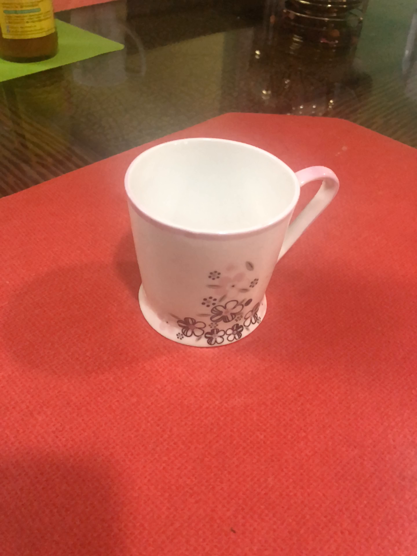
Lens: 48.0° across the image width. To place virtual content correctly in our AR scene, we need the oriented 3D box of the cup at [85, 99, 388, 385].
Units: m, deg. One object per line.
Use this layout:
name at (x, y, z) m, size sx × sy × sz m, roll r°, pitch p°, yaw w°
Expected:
cup at (0.009, -0.021, 0.215) m, size 0.100 × 0.080 × 0.070 m, roll -21°, pitch 48°, yaw -25°
